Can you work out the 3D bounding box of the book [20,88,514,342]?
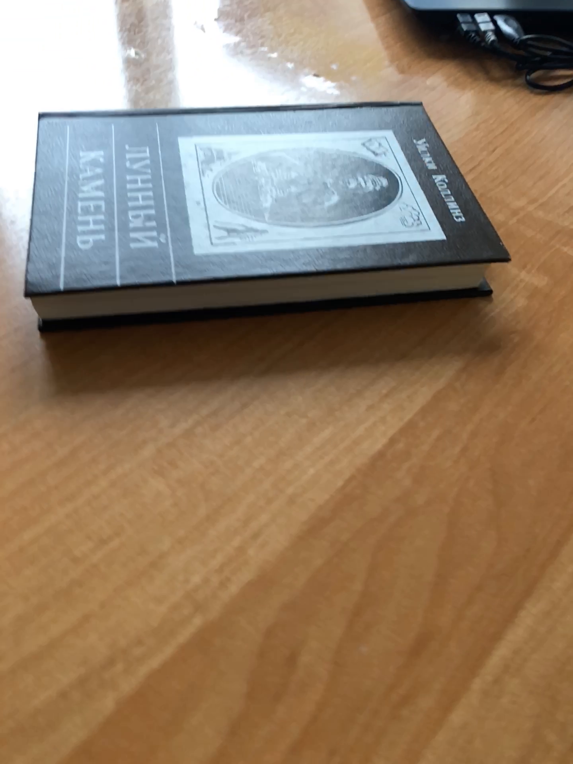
[{"bbox_3d":[-0.014,-0.089,0.305,0.199,0.032,0.134,-6,52,-8],"label":"book"}]
